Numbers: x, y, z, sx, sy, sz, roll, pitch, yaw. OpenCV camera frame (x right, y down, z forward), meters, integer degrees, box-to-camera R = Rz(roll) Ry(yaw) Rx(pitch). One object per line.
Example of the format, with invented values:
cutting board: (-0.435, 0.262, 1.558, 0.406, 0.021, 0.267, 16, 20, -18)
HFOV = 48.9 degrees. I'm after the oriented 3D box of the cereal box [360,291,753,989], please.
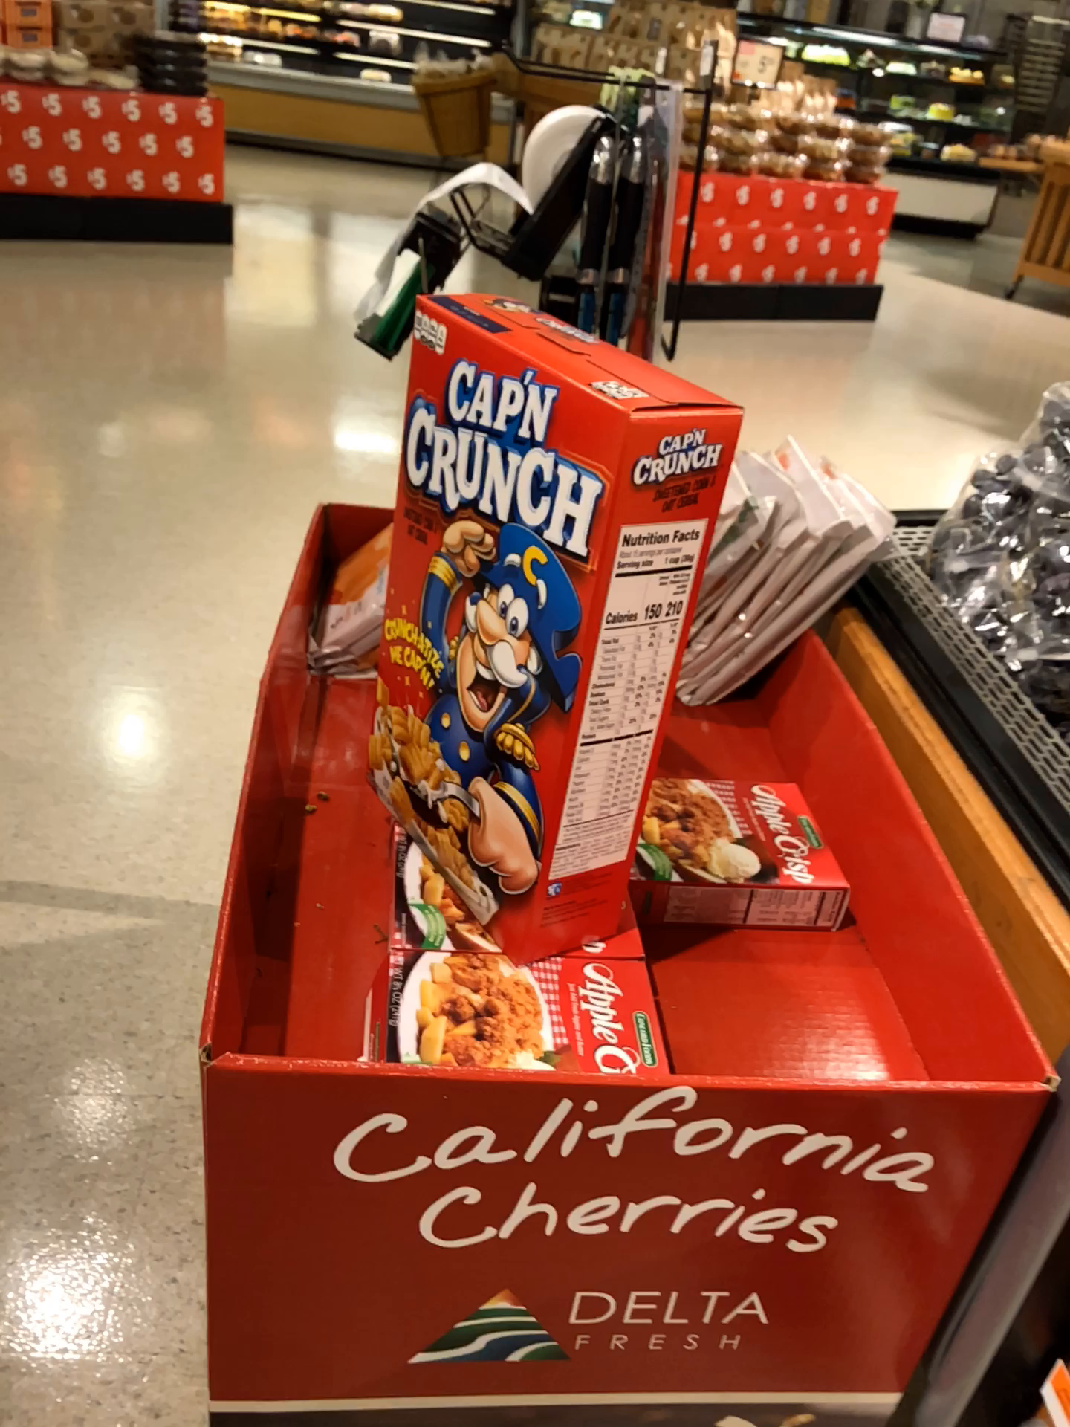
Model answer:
cereal box: (-0.011, -0.046, 0.679, 0.070, 0.328, 0.221, -9, 34, -31)
